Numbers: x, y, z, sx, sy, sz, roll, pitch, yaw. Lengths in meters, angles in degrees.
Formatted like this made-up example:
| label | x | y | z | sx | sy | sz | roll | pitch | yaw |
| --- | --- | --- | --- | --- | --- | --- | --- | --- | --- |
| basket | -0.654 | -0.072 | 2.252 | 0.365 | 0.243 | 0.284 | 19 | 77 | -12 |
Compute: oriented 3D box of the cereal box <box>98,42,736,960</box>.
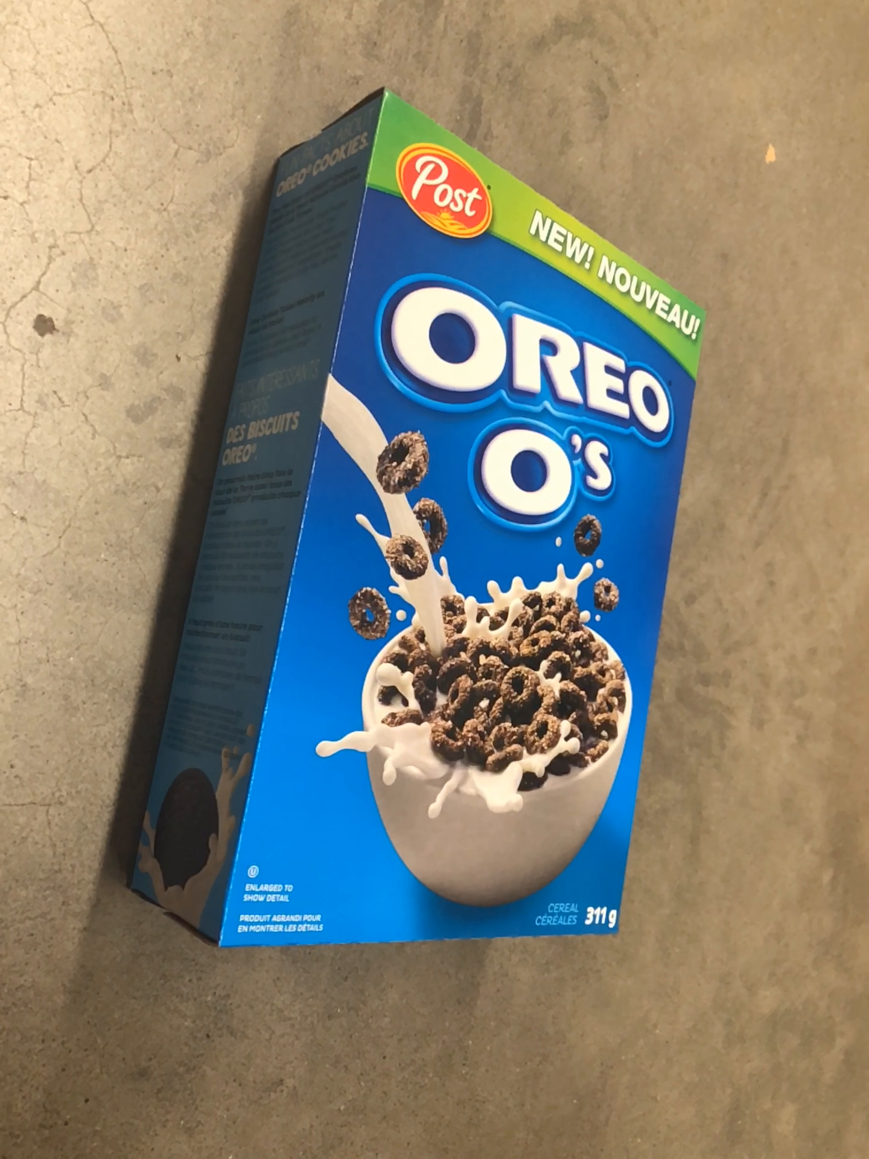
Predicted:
| label | x | y | z | sx | sy | sz | roll | pitch | yaw |
| --- | --- | --- | --- | --- | --- | --- | --- | --- | --- |
| cereal box | 0.012 | -0.011 | 0.376 | 0.211 | 0.070 | 0.280 | 15 | 81 | -39 |
